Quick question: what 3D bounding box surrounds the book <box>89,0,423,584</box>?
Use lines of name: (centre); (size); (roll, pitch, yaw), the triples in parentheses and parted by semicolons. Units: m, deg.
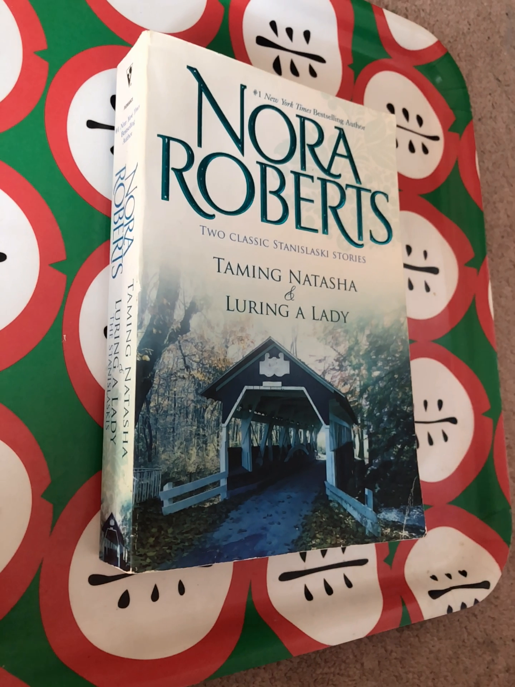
book: (0.005, -0.021, 0.258); (0.140, 0.040, 0.220); (5, 81, -29)
